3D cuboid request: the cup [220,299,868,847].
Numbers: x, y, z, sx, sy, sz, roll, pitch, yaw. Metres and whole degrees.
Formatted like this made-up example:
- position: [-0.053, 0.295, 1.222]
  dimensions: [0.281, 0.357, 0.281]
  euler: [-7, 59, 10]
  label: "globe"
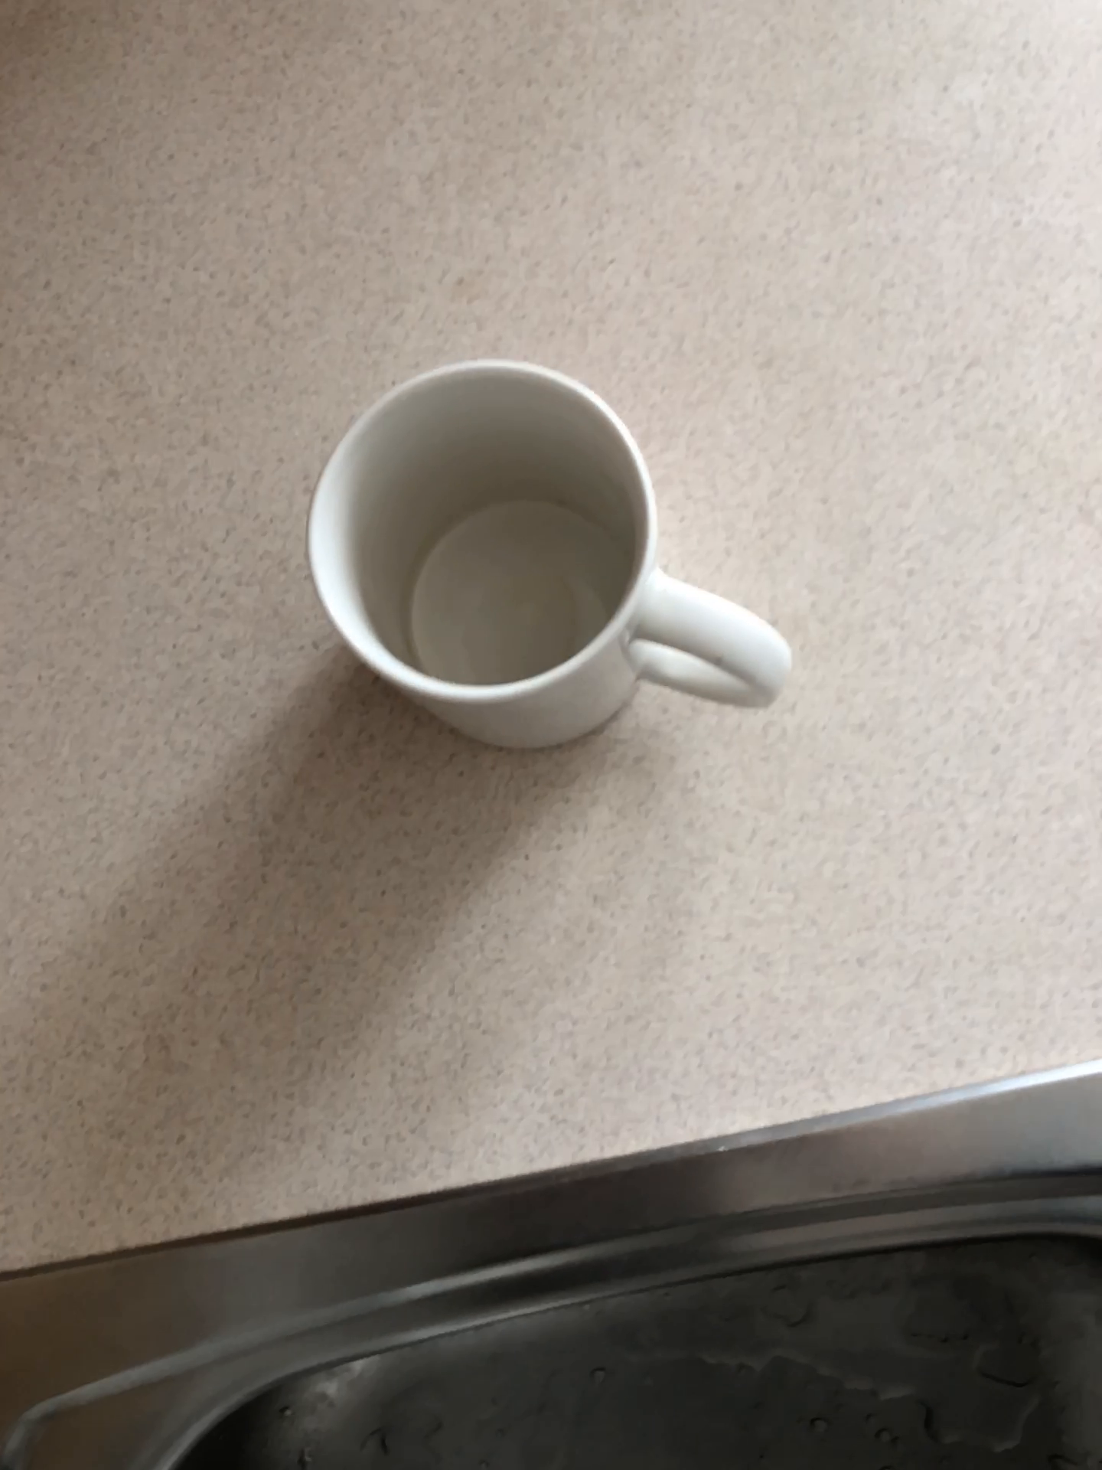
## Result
- position: [0.002, -0.033, 0.315]
  dimensions: [0.120, 0.099, 0.084]
  euler: [20, 85, 8]
  label: "cup"
